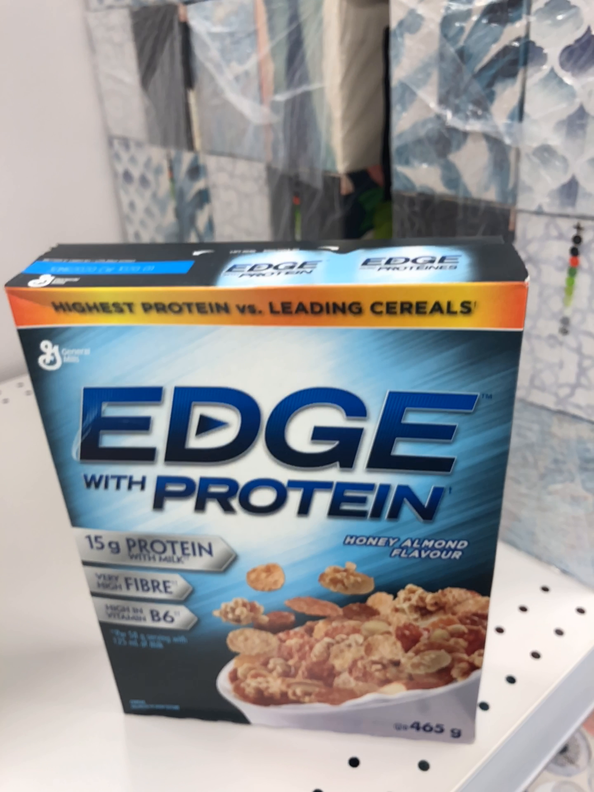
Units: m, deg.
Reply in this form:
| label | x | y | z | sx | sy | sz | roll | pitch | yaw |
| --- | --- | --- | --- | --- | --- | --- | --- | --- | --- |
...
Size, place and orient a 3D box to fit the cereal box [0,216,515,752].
| label | x | y | z | sx | sy | sz | roll | pitch | yaw |
| --- | --- | --- | --- | --- | --- | --- | --- | --- | --- |
| cereal box | -0.012 | 0.060 | 0.333 | 0.200 | 0.279 | 0.050 | 0 | 30 | 8 |
